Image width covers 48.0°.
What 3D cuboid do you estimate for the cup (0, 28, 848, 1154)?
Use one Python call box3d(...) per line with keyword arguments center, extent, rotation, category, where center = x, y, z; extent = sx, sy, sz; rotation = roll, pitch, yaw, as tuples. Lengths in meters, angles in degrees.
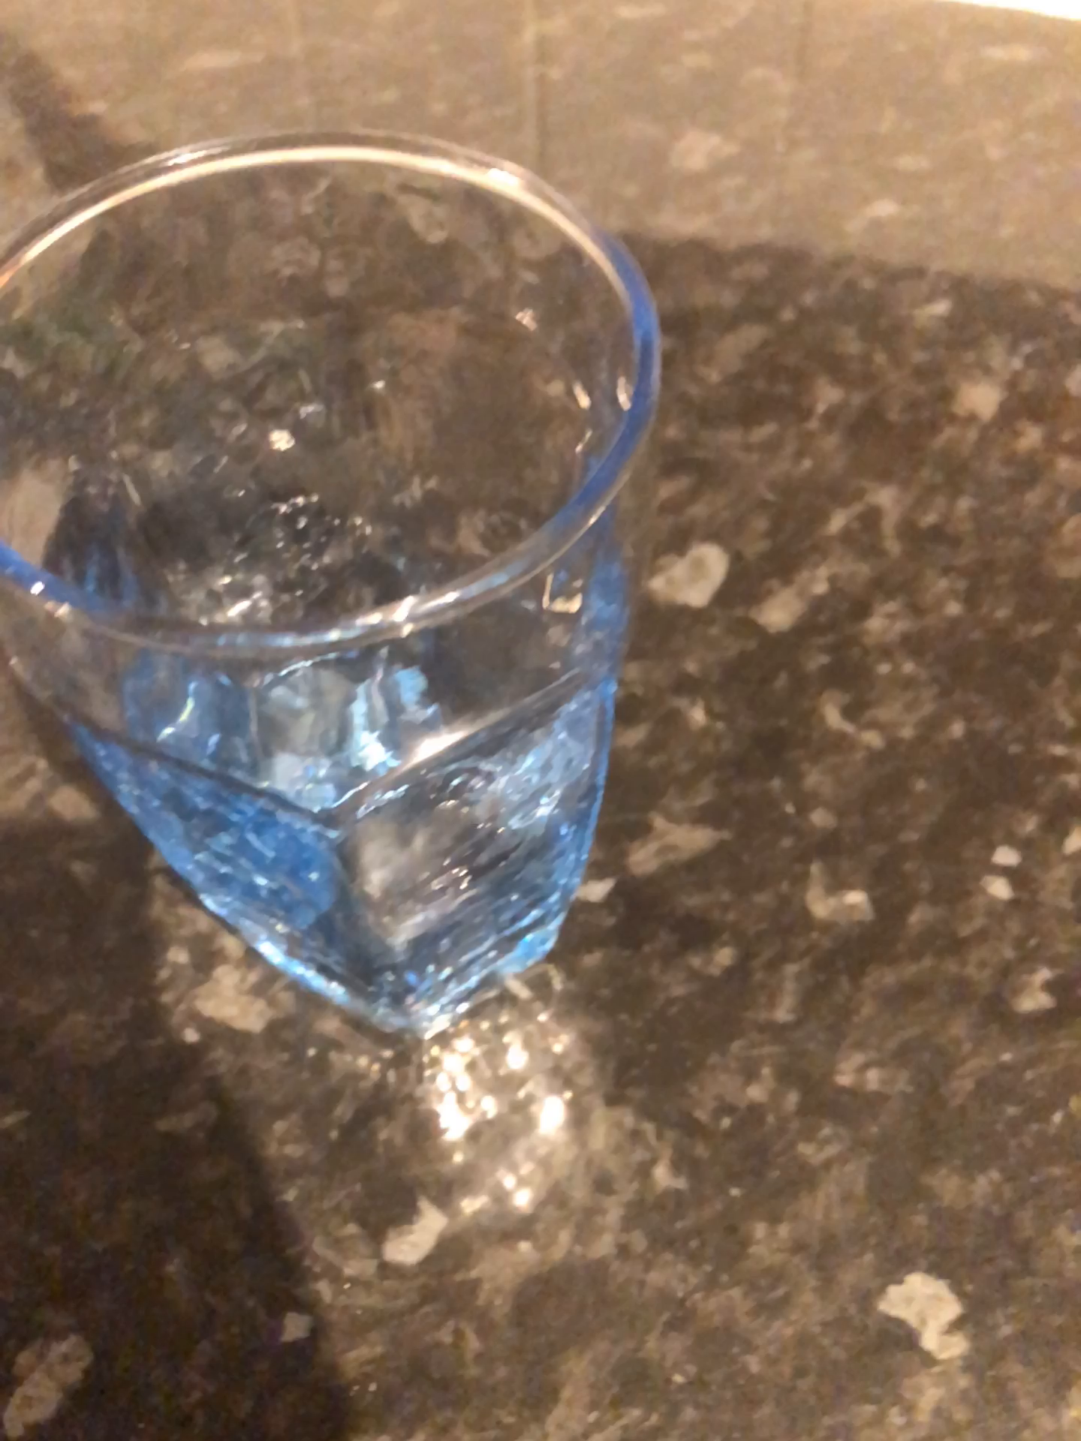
box3d(center=(-0.024, -0.006, 0.162), extent=(0.080, 0.119, 0.070), rotation=(-19, 59, -12), category="cup")
